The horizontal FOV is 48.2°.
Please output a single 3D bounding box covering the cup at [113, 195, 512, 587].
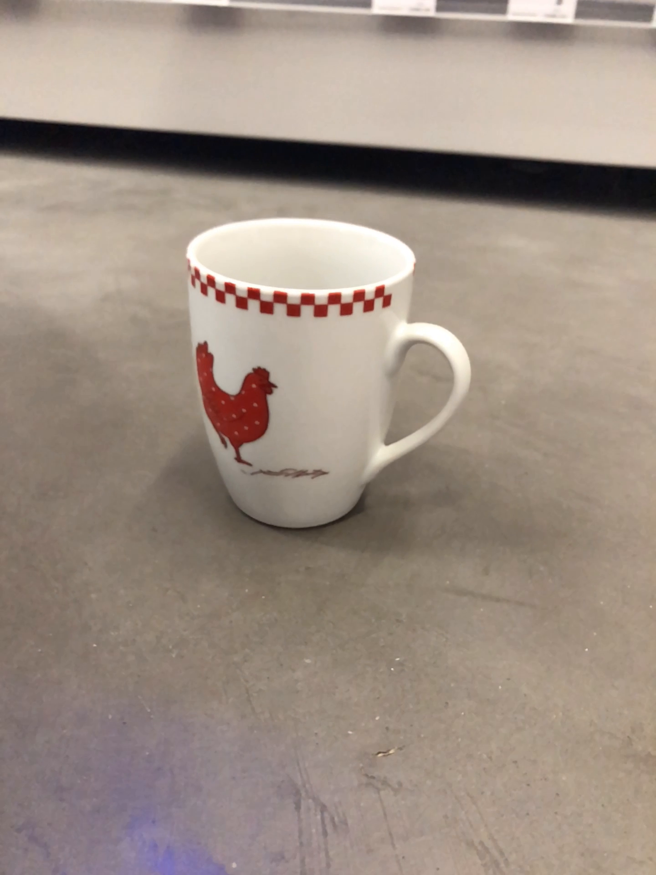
[{"bbox_3d":[-0.003,-0.024,0.265,0.102,0.092,0.088,16,34,21],"label":"cup"}]
